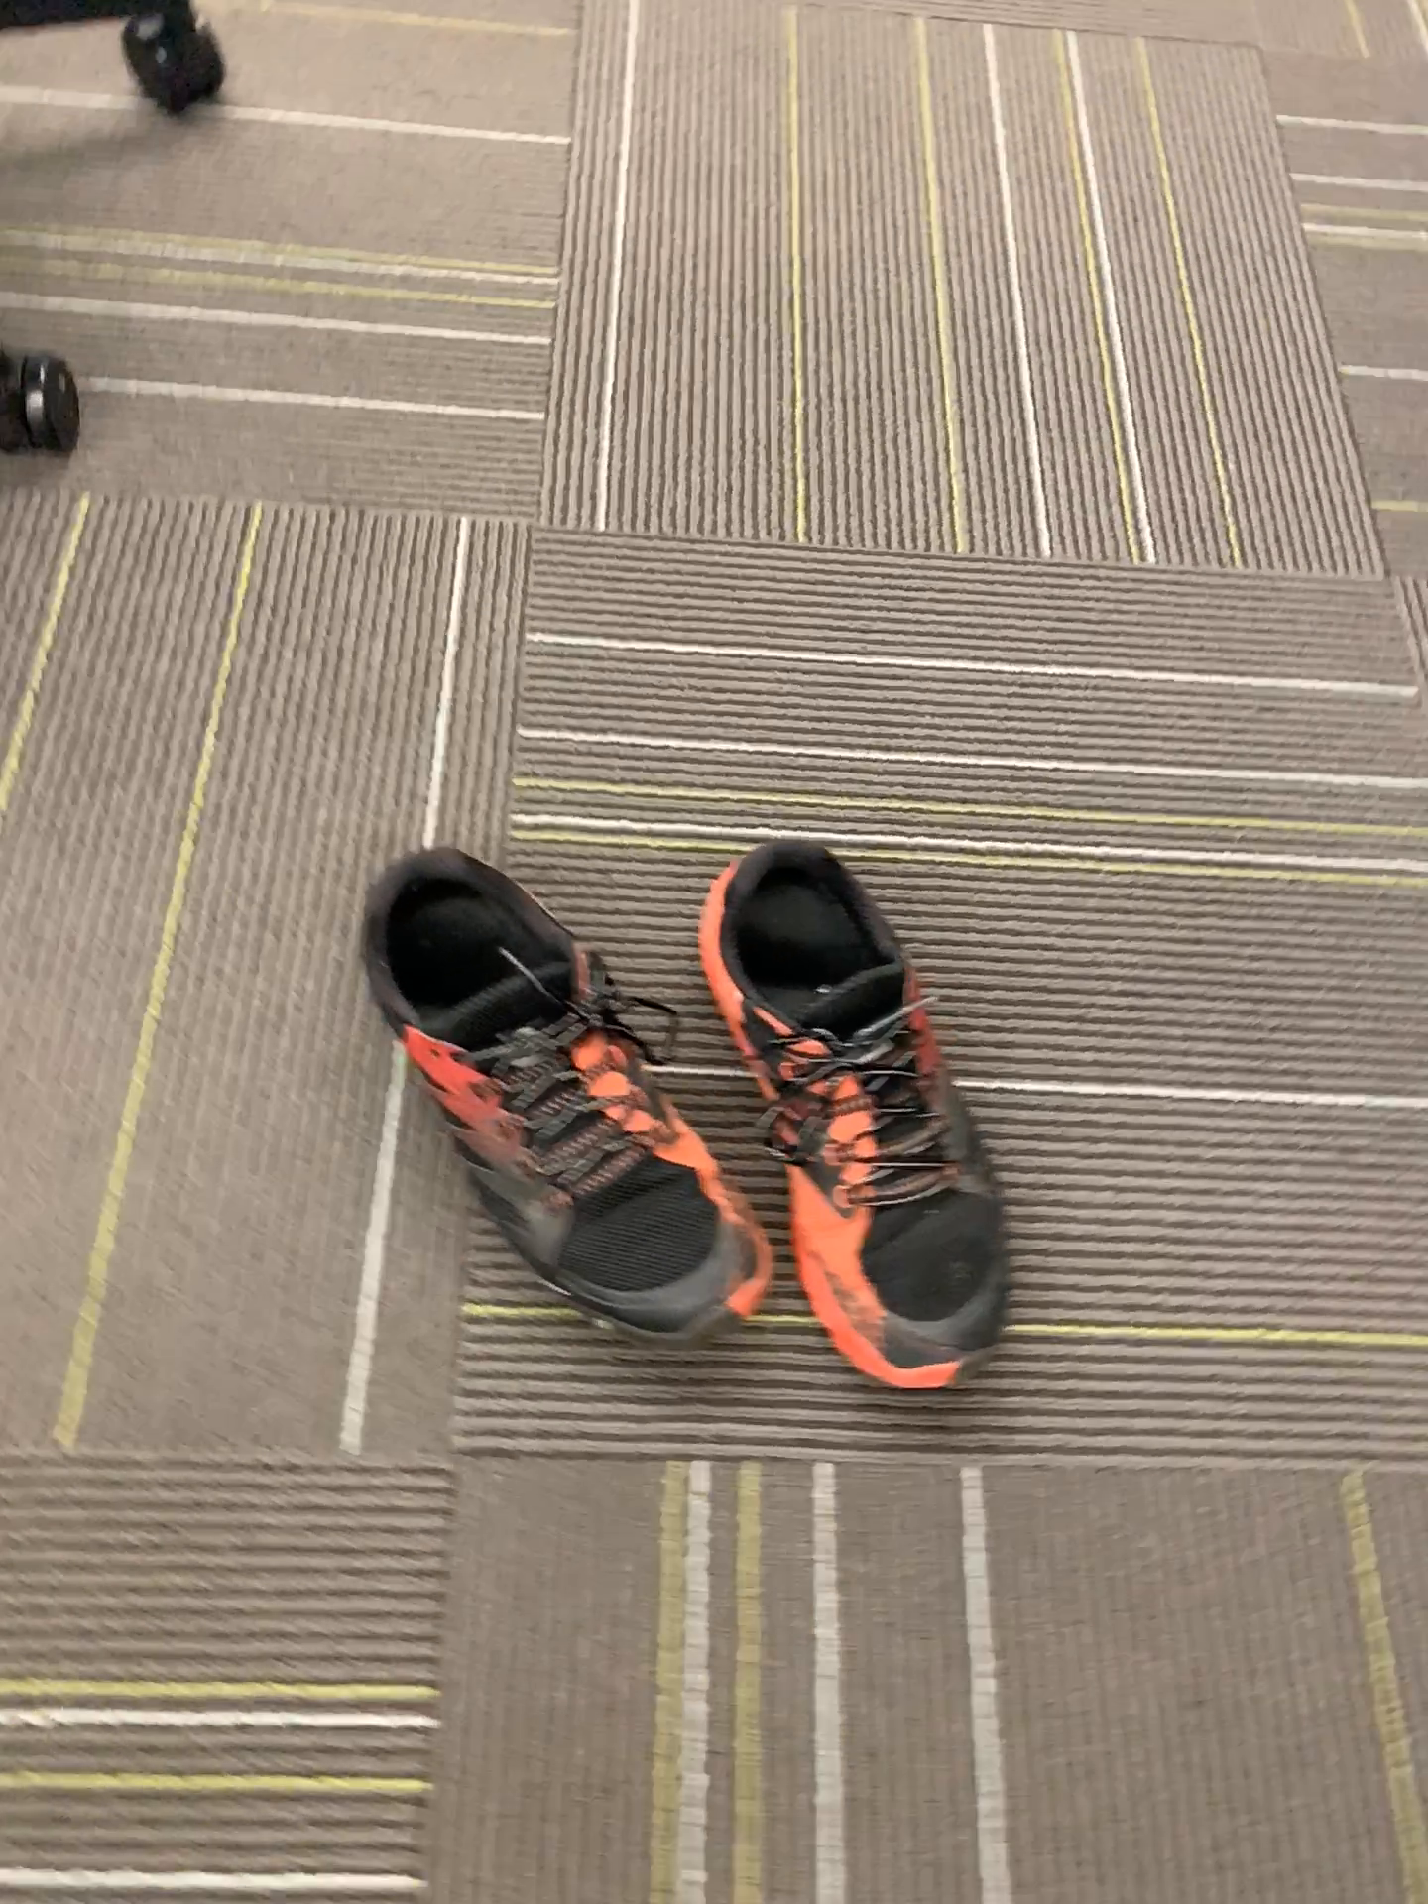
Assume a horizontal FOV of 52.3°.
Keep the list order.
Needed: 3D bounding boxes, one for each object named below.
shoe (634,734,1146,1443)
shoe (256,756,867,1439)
[{"bbox_3d":[0.073,0.067,0.760,0.130,0.130,0.321,-16,66,-12],"label":"shoe"},{"bbox_3d":[-0.083,0.072,0.749,0.130,0.130,0.311,-35,71,-19],"label":"shoe"}]
